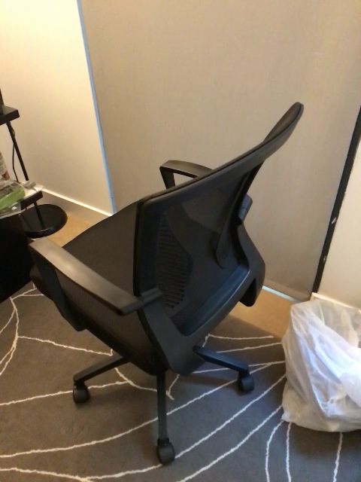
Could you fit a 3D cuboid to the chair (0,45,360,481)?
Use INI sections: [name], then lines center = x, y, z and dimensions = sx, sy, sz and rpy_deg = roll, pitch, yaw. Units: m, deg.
[chair]
center = -0.060, 0.047, 1.257
dimensions = 0.792, 0.992, 0.835
rpy_deg = 28, 48, 32
